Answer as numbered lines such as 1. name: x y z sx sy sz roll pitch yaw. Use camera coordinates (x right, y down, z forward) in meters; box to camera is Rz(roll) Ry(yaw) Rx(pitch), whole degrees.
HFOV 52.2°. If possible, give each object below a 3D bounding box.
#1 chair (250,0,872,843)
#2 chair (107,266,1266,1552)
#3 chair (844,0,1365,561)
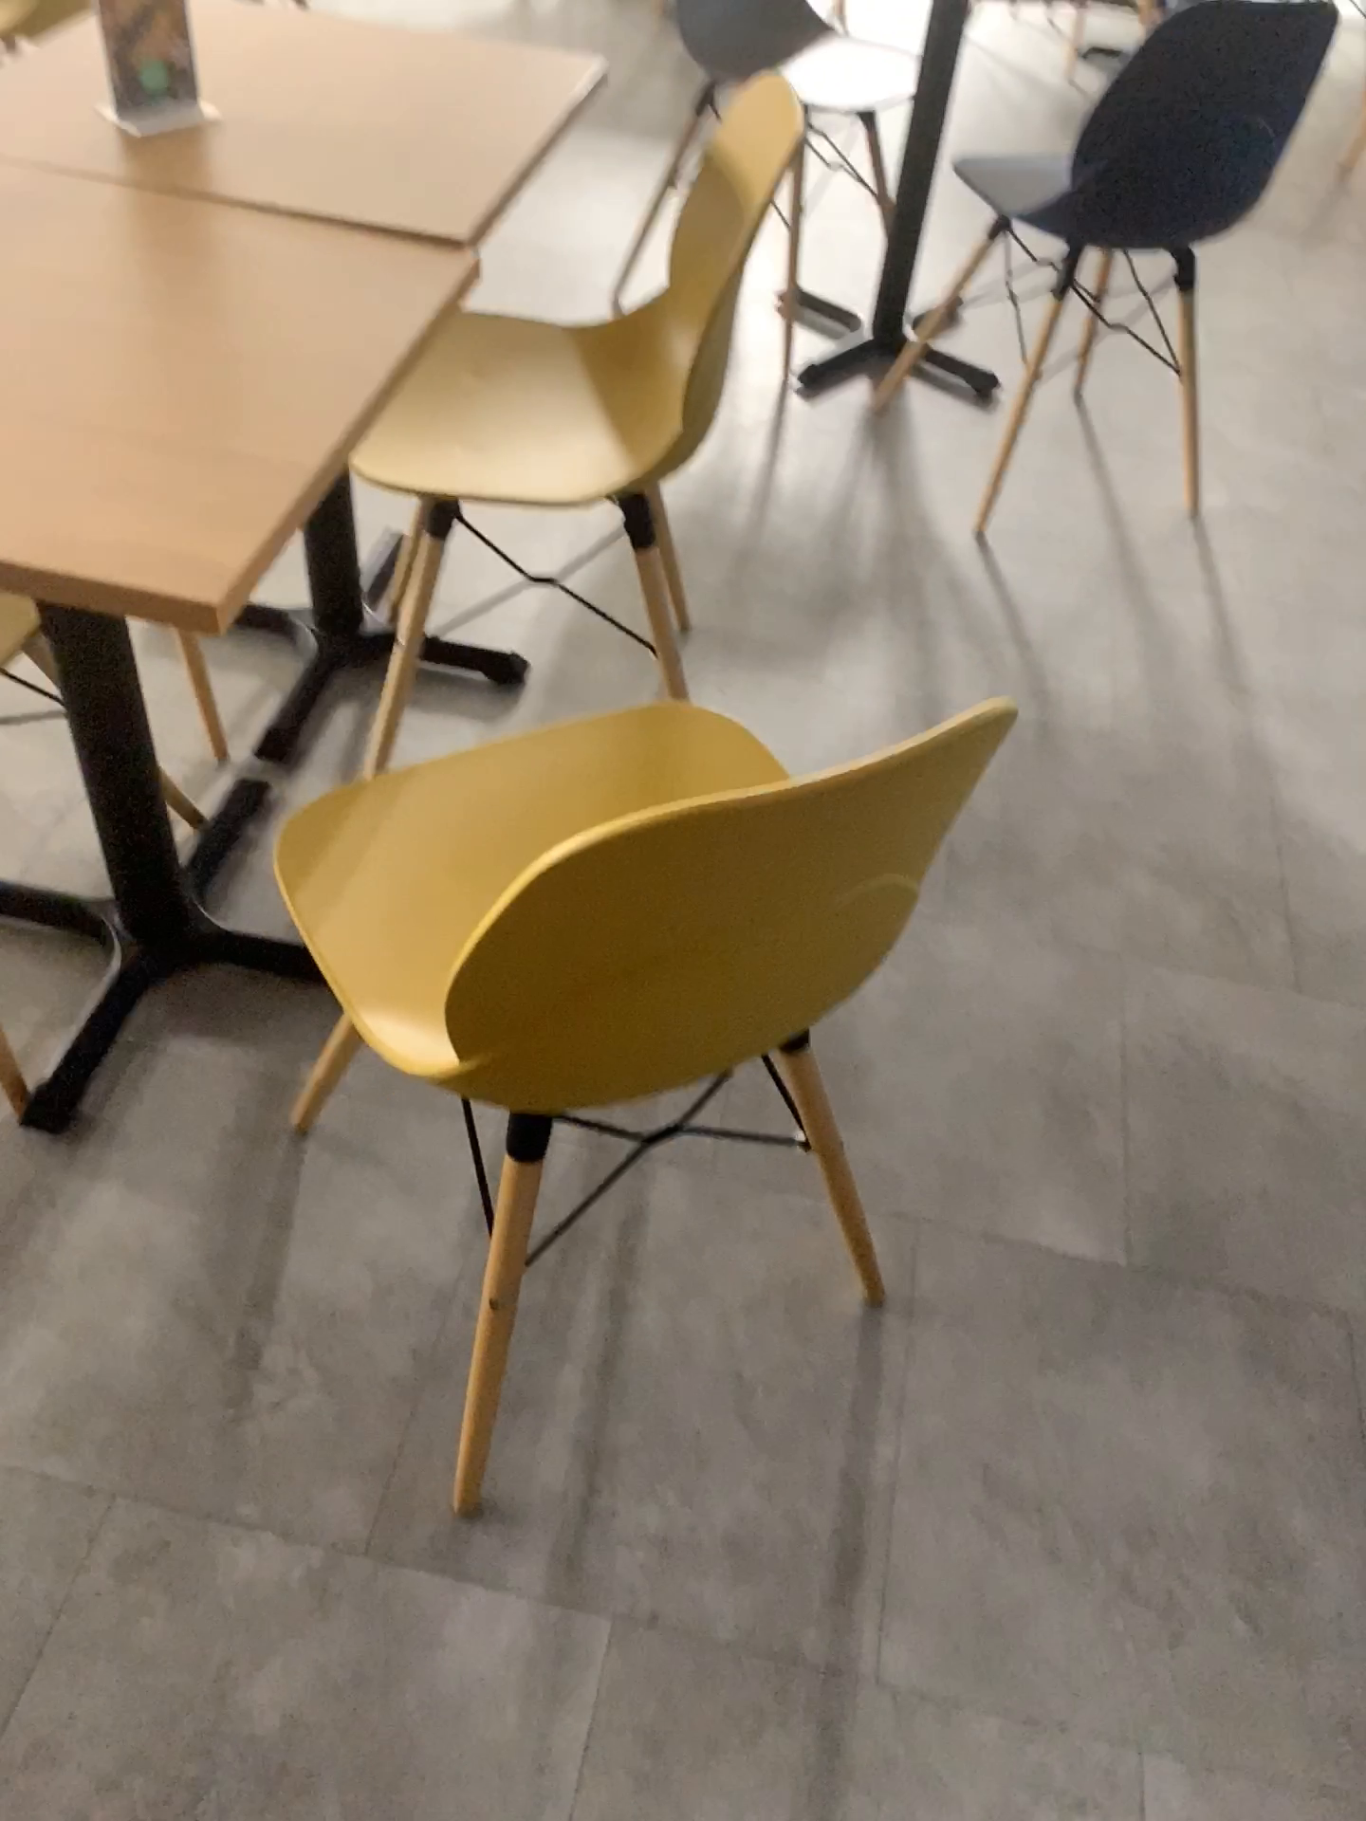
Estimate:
1. chair: -0.157 -0.545 1.648 0.529 0.781 0.521 -1 47 -8
2. chair: -0.051 0.013 1.127 0.518 0.781 0.522 -19 52 -23
3. chair: 0.676 -1.088 2.272 0.517 0.781 0.532 -13 50 -18
